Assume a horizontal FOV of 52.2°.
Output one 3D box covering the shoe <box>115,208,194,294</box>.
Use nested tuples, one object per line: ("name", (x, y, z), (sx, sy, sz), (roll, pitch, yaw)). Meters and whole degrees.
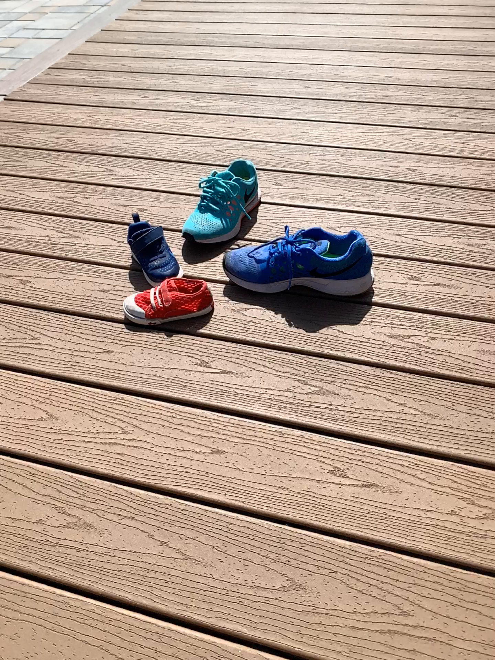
("shoe", (-0.189, -0.162, 1.017), (0.090, 0.070, 0.171), (-23, 49, -18))

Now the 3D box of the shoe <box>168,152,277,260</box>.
("shoe", (-0.046, -0.284, 1.126), (0.120, 0.090, 0.271), (19, 50, 20))

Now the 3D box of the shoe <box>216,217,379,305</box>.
("shoe", (0.098, -0.136, 0.974), (0.290, 0.090, 0.120), (6, 46, 9))

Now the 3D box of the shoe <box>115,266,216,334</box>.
("shoe", (-0.150, -0.057, 0.930), (0.170, 0.060, 0.080), (-10, 46, -6))
